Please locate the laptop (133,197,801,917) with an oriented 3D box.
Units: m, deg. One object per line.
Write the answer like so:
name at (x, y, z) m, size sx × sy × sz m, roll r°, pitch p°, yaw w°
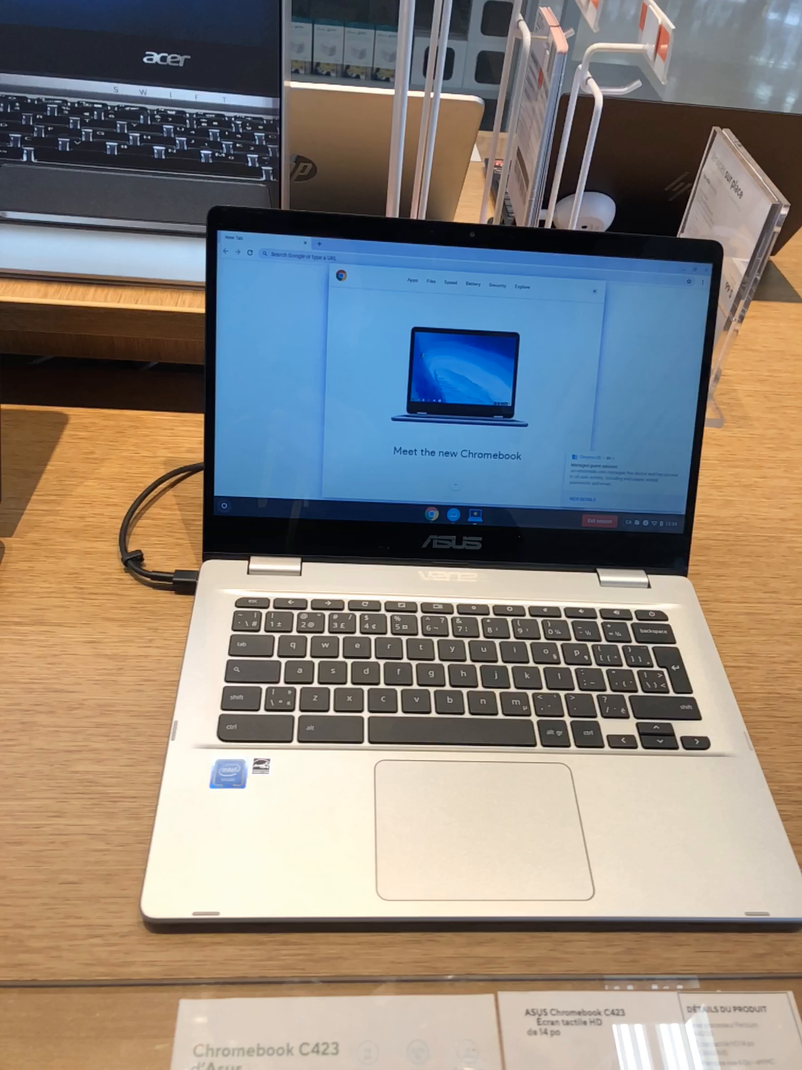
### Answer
laptop at (0.035, -0.006, 0.462) m, size 0.281 × 0.186 × 0.337 m, roll 2°, pitch 42°, yaw -8°
